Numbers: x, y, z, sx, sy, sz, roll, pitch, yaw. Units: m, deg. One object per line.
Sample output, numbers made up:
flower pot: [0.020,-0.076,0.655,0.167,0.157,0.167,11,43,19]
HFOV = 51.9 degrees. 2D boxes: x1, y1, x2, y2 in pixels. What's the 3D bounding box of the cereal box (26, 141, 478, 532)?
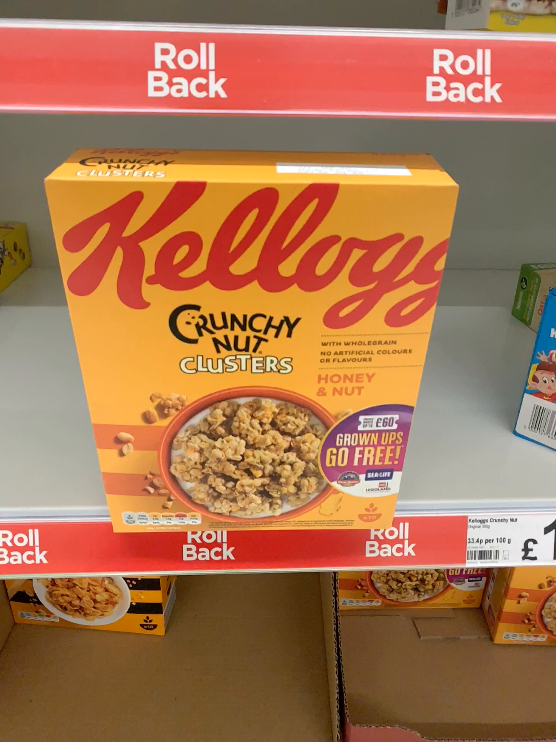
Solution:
cereal box: [-0.014,-0.008,0.340,0.200,0.228,0.061,0,33,-3]
